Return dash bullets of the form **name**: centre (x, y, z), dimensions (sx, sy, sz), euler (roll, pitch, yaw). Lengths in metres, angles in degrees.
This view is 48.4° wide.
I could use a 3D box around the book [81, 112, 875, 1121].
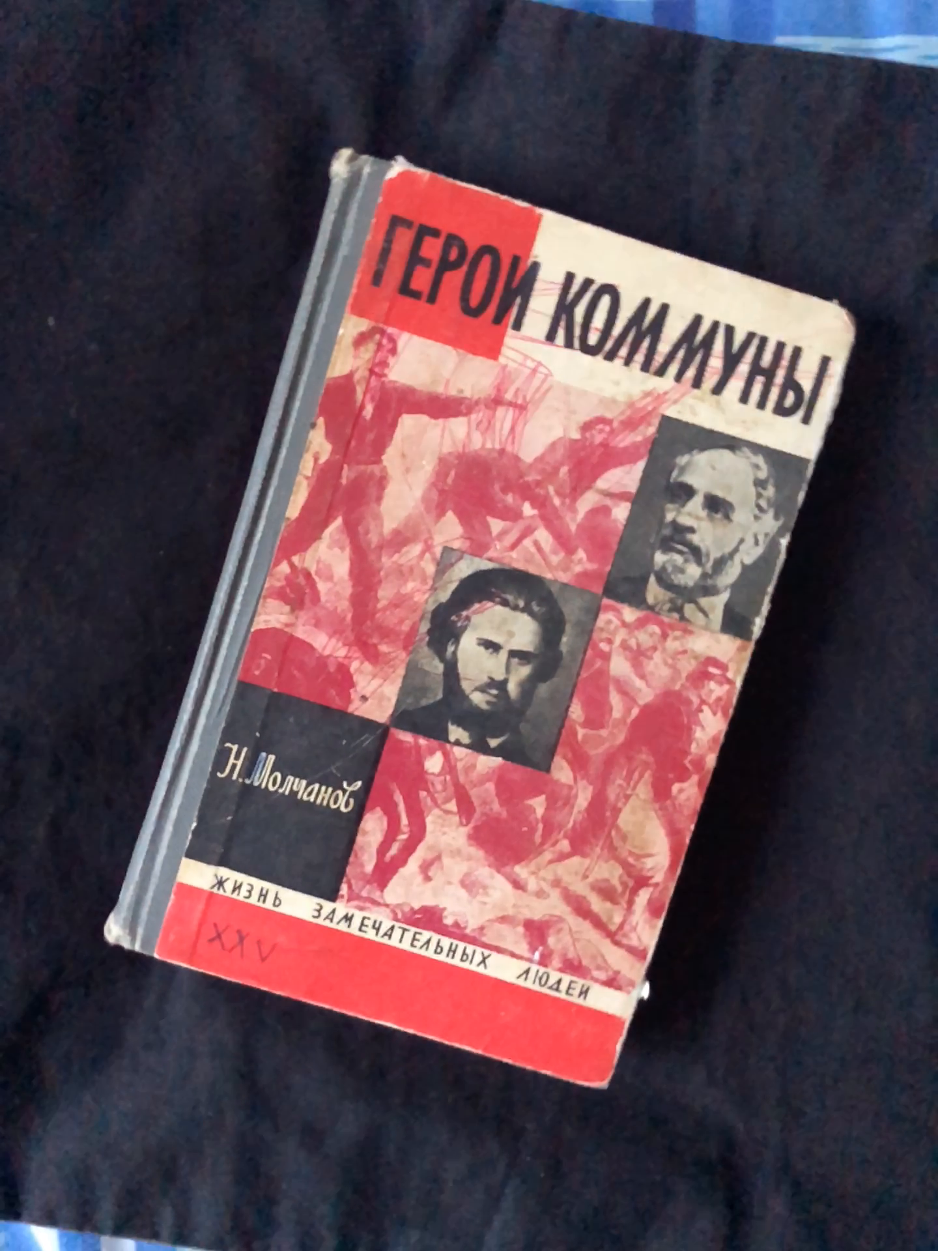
- **book**: centre (0.000, 0.000, 0.266), dimensions (0.128, 0.060, 0.200), euler (17, 94, -1)
